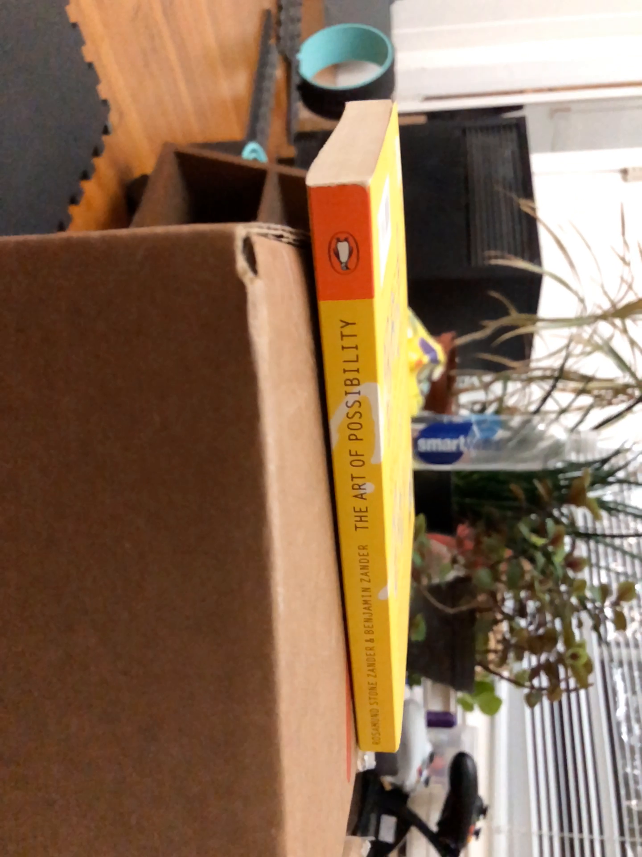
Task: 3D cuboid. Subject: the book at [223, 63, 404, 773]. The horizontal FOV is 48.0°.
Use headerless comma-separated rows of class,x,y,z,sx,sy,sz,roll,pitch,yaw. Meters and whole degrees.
book,0.012,-0.008,0.263,0.150,0.020,0.210,-75,161,-57
